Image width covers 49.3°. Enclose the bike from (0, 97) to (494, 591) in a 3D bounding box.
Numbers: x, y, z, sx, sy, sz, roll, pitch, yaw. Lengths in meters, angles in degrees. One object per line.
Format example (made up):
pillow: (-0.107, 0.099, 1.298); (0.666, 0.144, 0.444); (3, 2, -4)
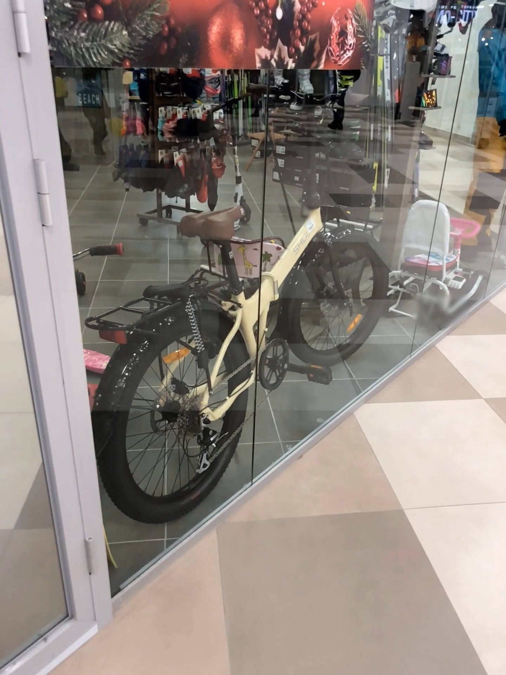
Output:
bike: (0.187, -0.189, 1.964); (0.594, 1.175, 1.708); (18, 29, 30)
